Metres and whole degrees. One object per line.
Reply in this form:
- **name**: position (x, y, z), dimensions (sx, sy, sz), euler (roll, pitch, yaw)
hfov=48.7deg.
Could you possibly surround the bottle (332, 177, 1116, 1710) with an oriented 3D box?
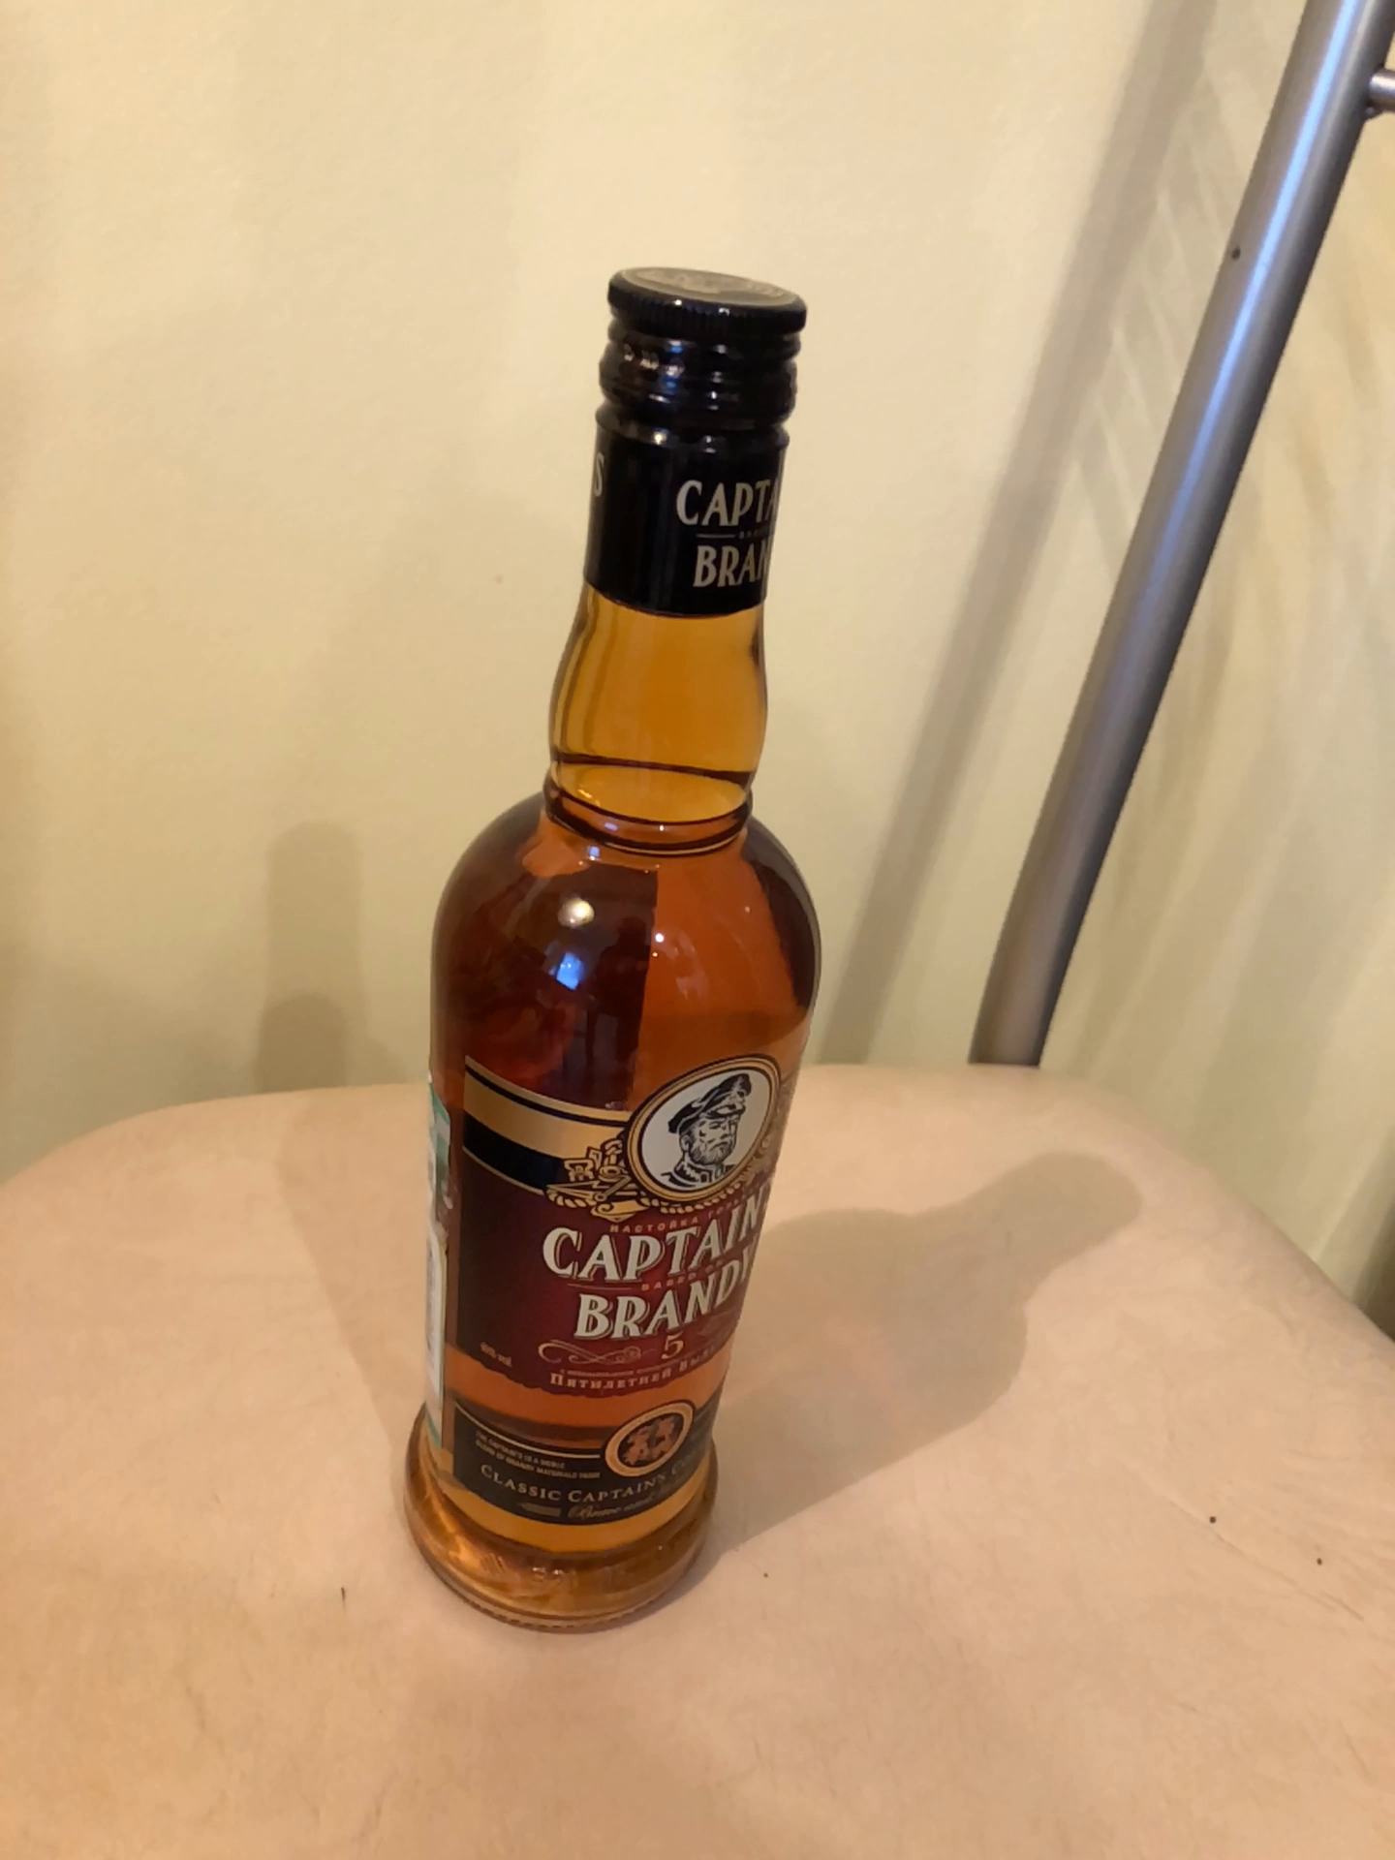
- **bottle**: position (-0.011, 0.016, 0.272), dimensions (0.080, 0.258, 0.070), euler (-12, 37, -27)
